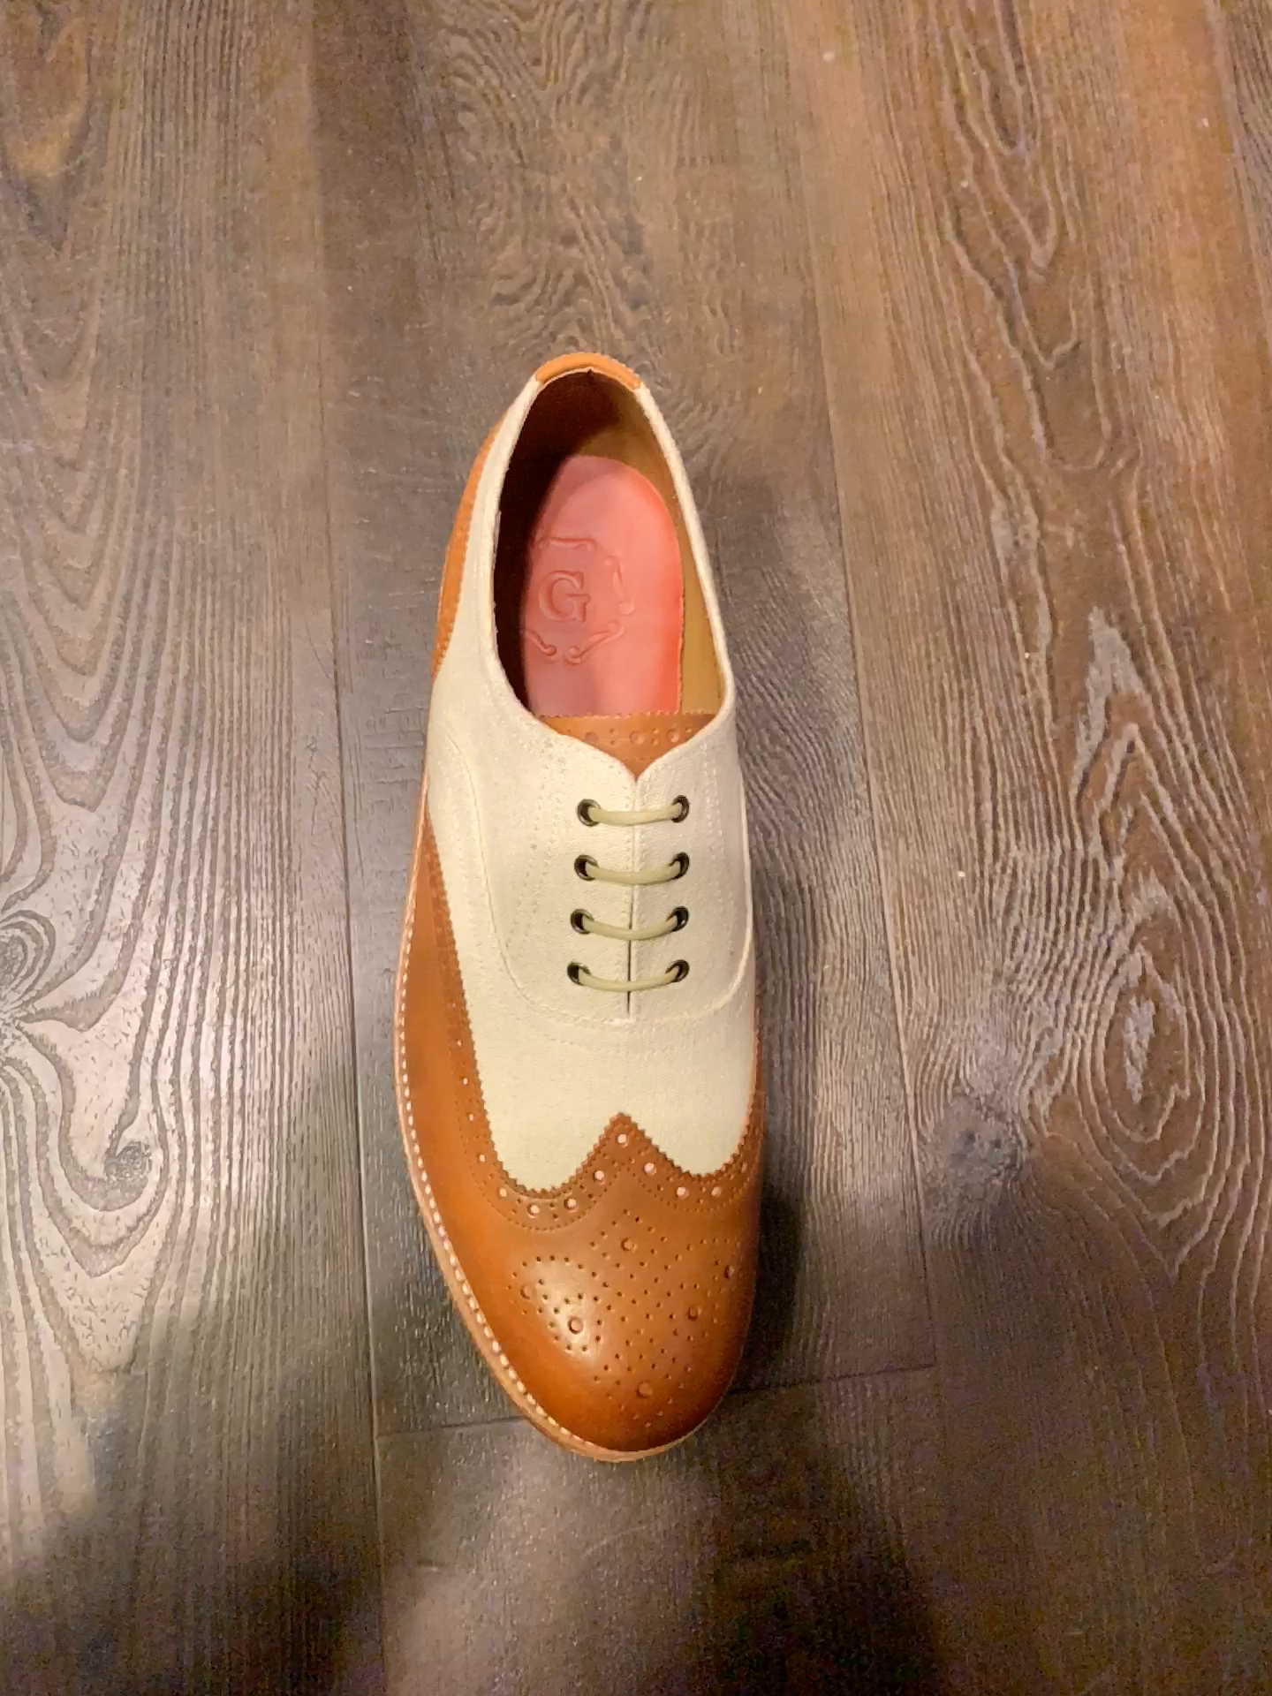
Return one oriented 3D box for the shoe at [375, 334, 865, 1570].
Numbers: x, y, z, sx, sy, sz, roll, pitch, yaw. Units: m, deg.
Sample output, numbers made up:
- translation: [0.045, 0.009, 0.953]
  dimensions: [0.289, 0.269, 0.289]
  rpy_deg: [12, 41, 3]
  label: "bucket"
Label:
- translation: [-0.015, 0.022, 0.383]
  dimensions: [0.110, 0.120, 0.300]
  rpy_deg: [-1, 80, -8]
  label: "shoe"
